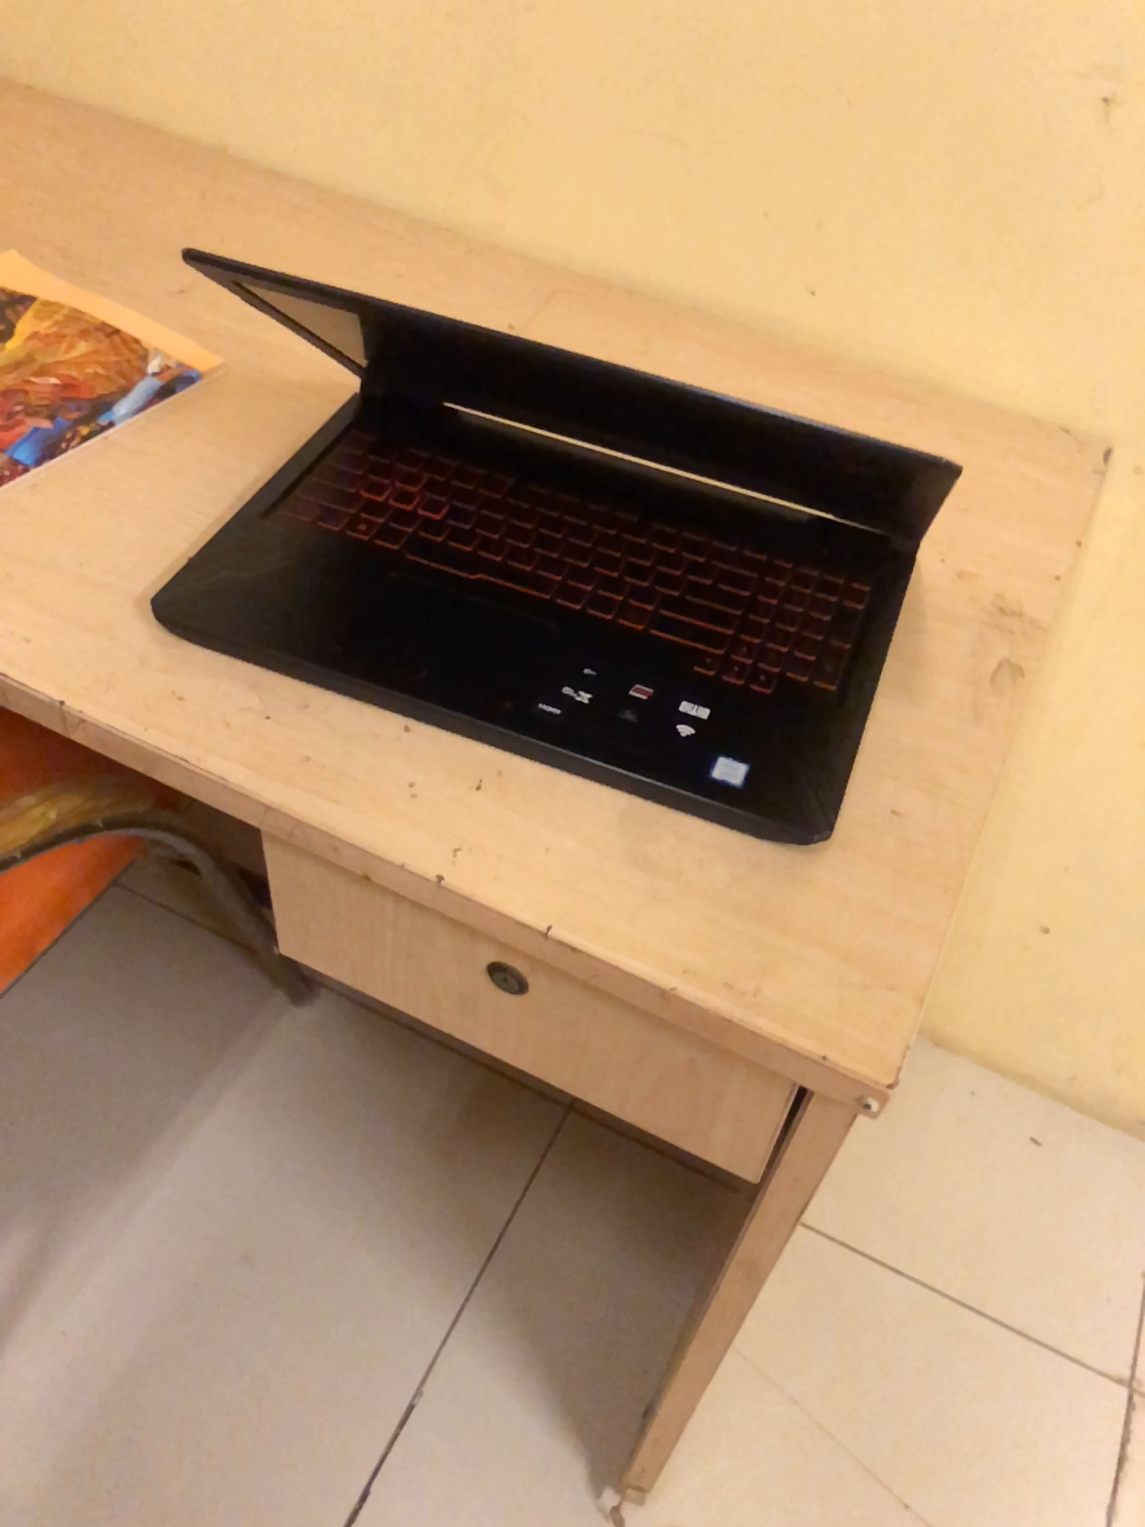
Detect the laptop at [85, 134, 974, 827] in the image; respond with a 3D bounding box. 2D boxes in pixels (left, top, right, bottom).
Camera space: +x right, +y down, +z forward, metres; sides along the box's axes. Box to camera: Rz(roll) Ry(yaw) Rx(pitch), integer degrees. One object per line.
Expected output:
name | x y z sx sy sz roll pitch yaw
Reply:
laptop | -0.012 -0.168 0.679 0.369 0.173 0.253 19 47 10
